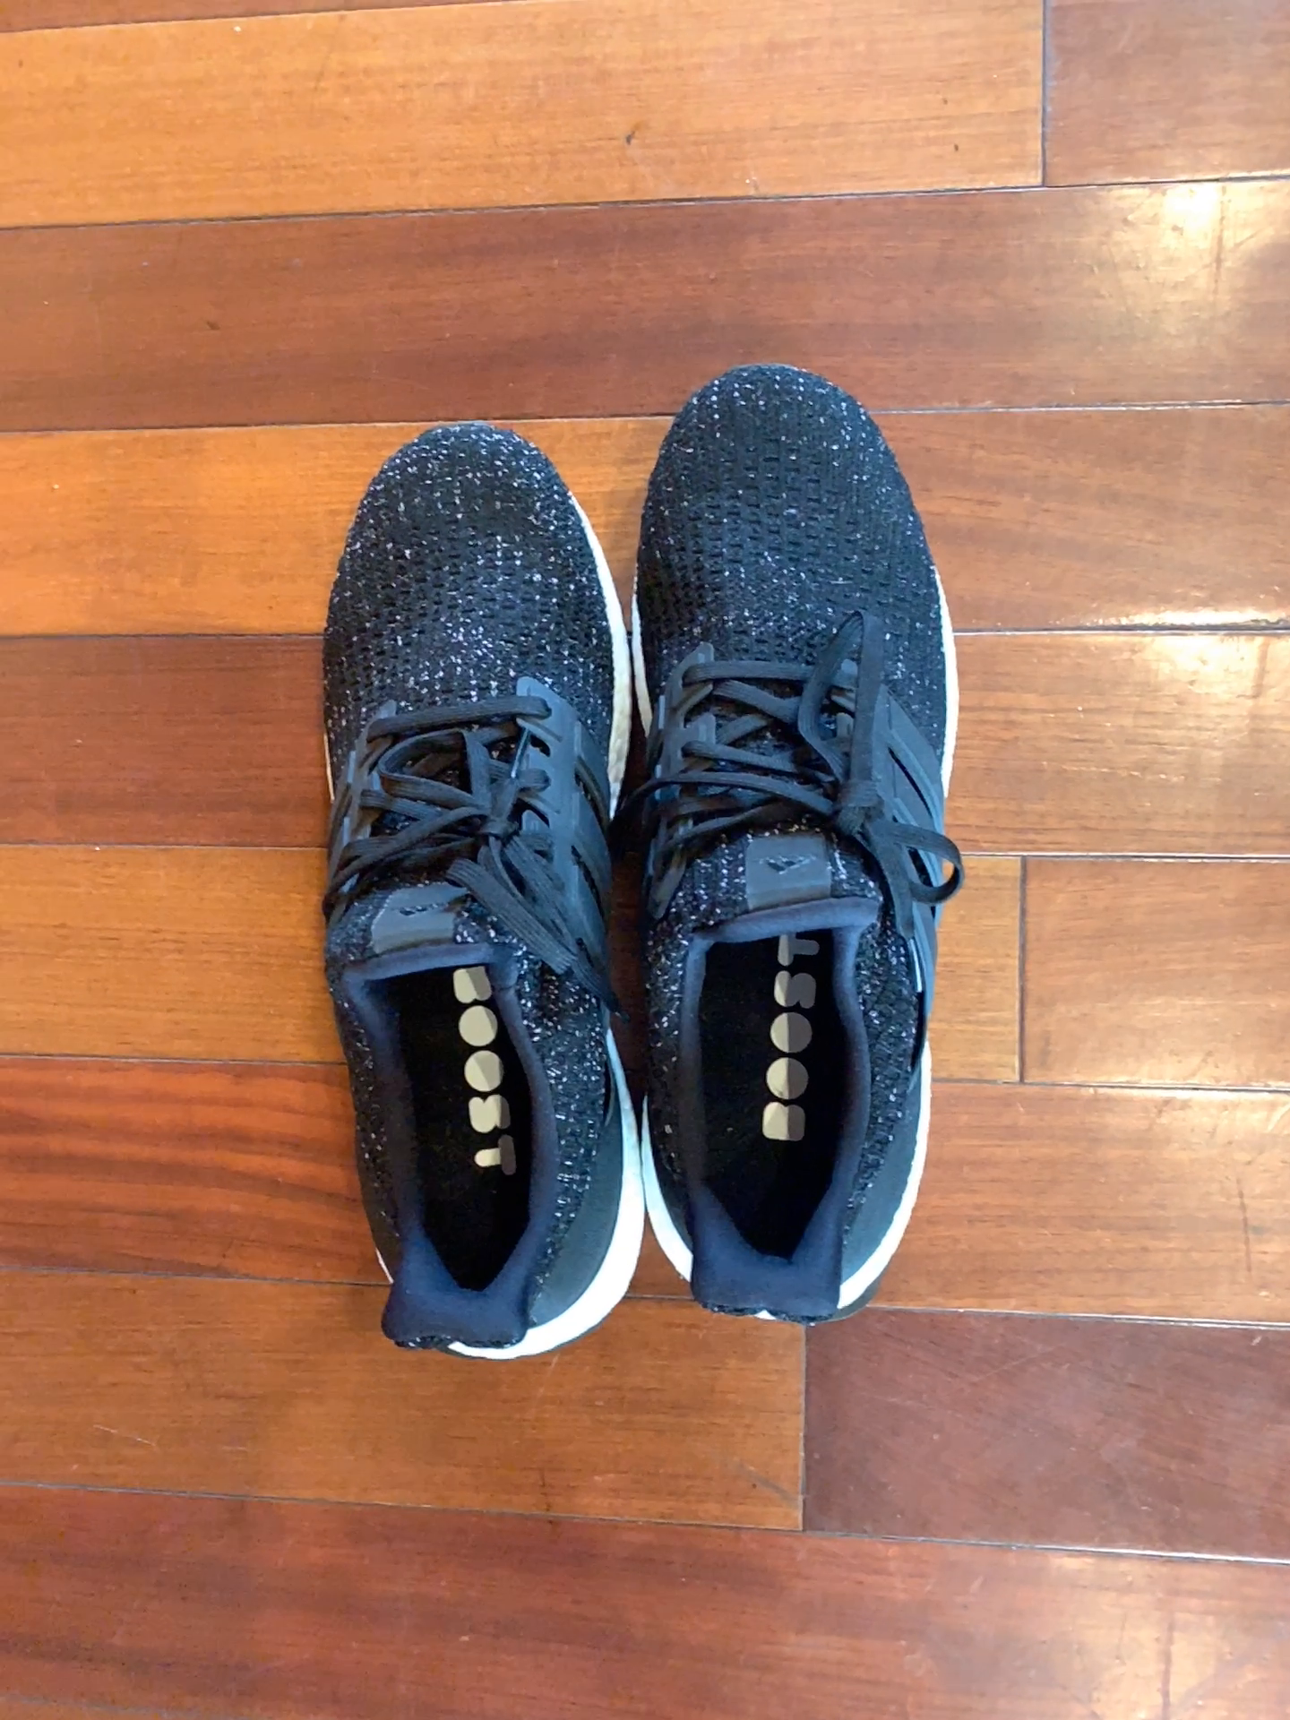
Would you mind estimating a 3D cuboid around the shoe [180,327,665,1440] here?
[{"bbox_3d":[-0.063,0.008,0.414,0.110,0.100,0.300,-4,87,6],"label":"shoe"}]

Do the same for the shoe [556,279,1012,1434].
[{"bbox_3d":[0.041,-0.002,0.387,0.110,0.100,0.290,1,88,6],"label":"shoe"}]
